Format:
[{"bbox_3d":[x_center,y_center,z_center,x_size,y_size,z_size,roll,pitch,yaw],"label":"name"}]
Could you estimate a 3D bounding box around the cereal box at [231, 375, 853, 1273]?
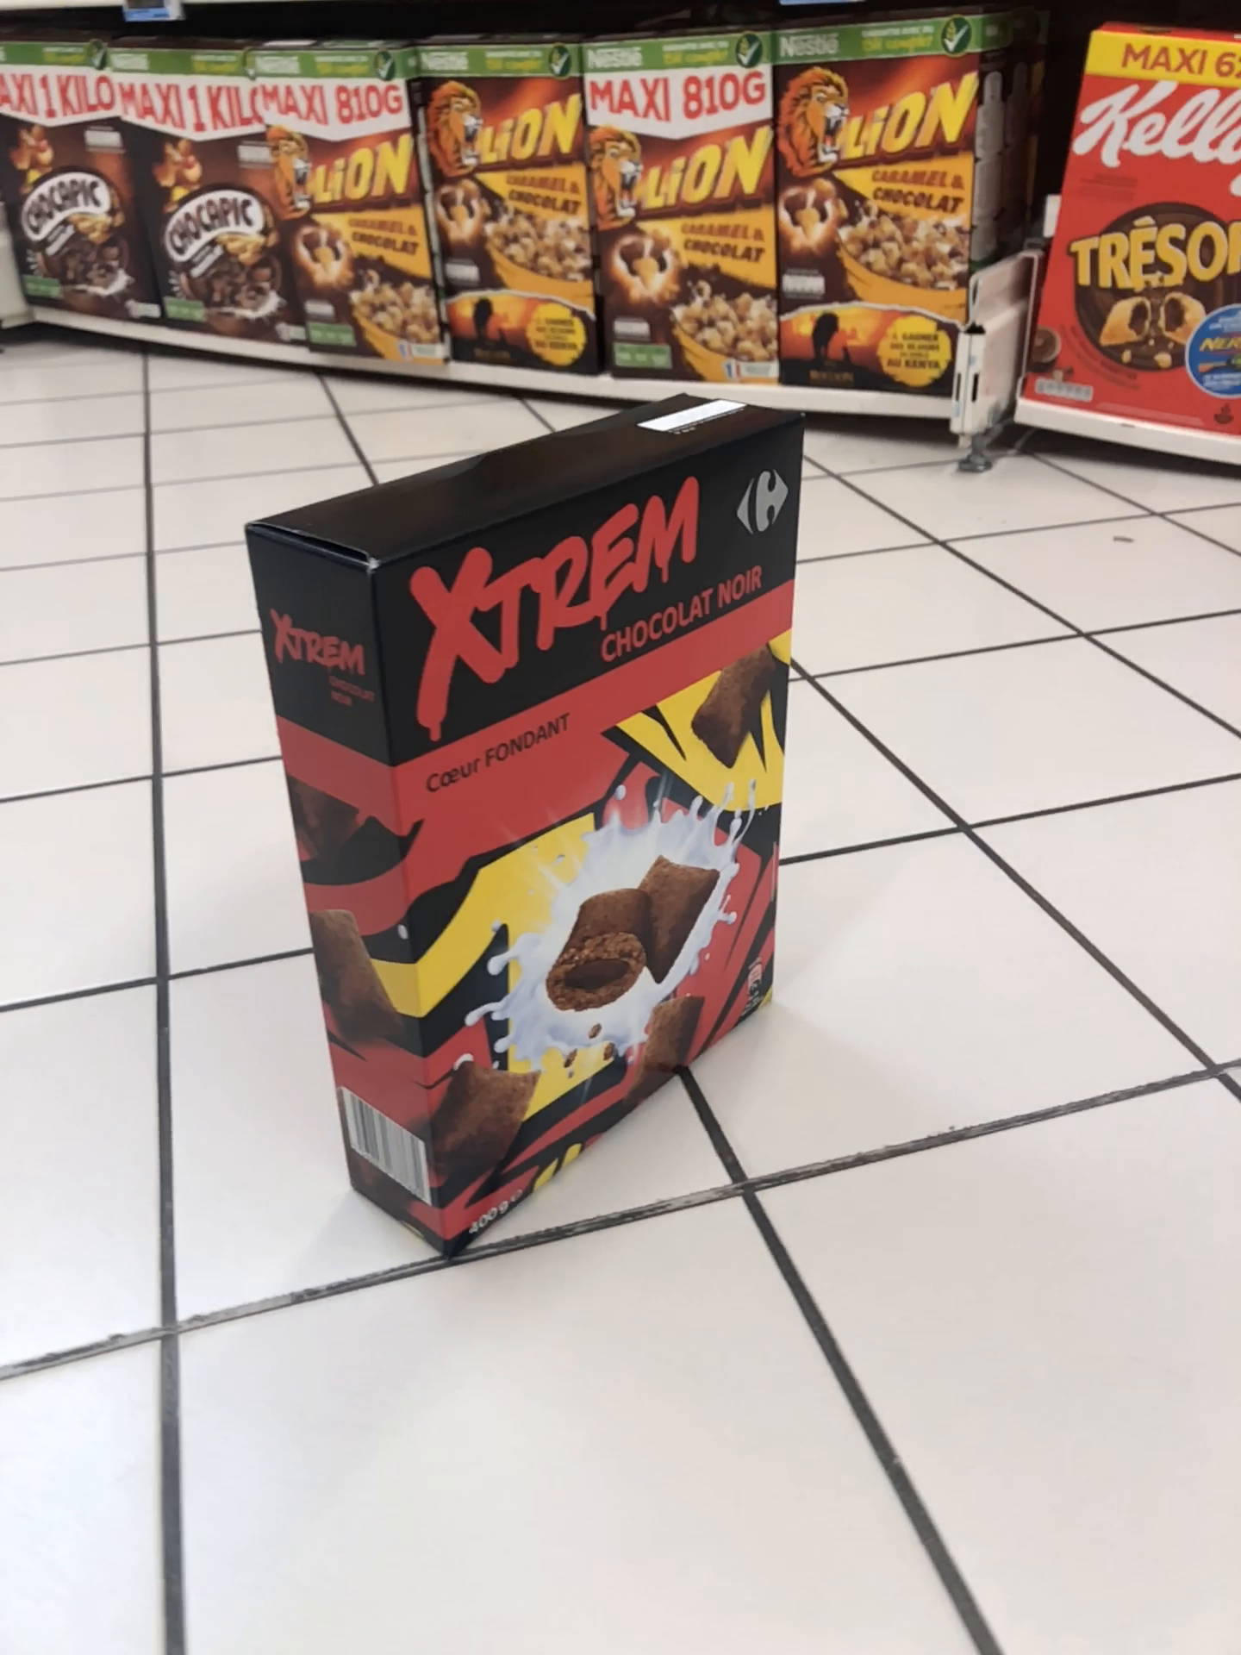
[{"bbox_3d":[-0.011,-0.009,0.481,0.070,0.249,0.201,23,38,36],"label":"cereal box"}]
